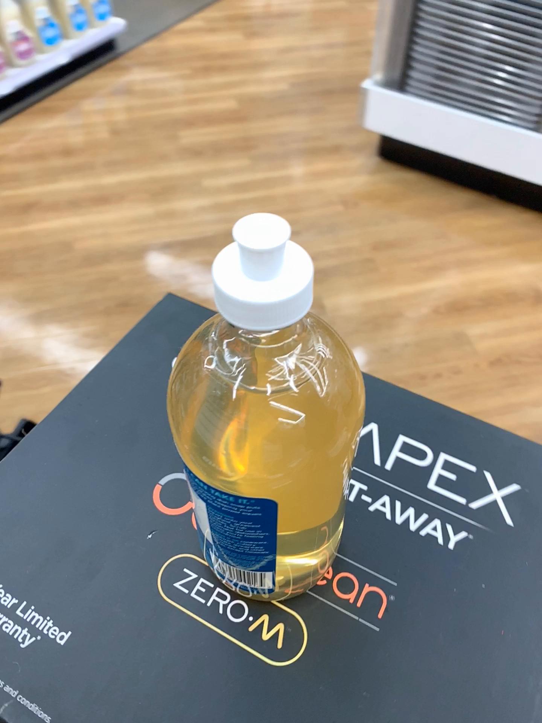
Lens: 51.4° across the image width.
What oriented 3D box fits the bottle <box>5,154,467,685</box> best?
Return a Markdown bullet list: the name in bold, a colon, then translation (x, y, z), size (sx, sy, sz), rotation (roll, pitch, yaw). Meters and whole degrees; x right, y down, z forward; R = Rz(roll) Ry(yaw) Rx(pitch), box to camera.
- **bottle**: translation (-0.009, 0.043, 0.236), size (0.090, 0.209, 0.090), rotation (0, 51, 0)
